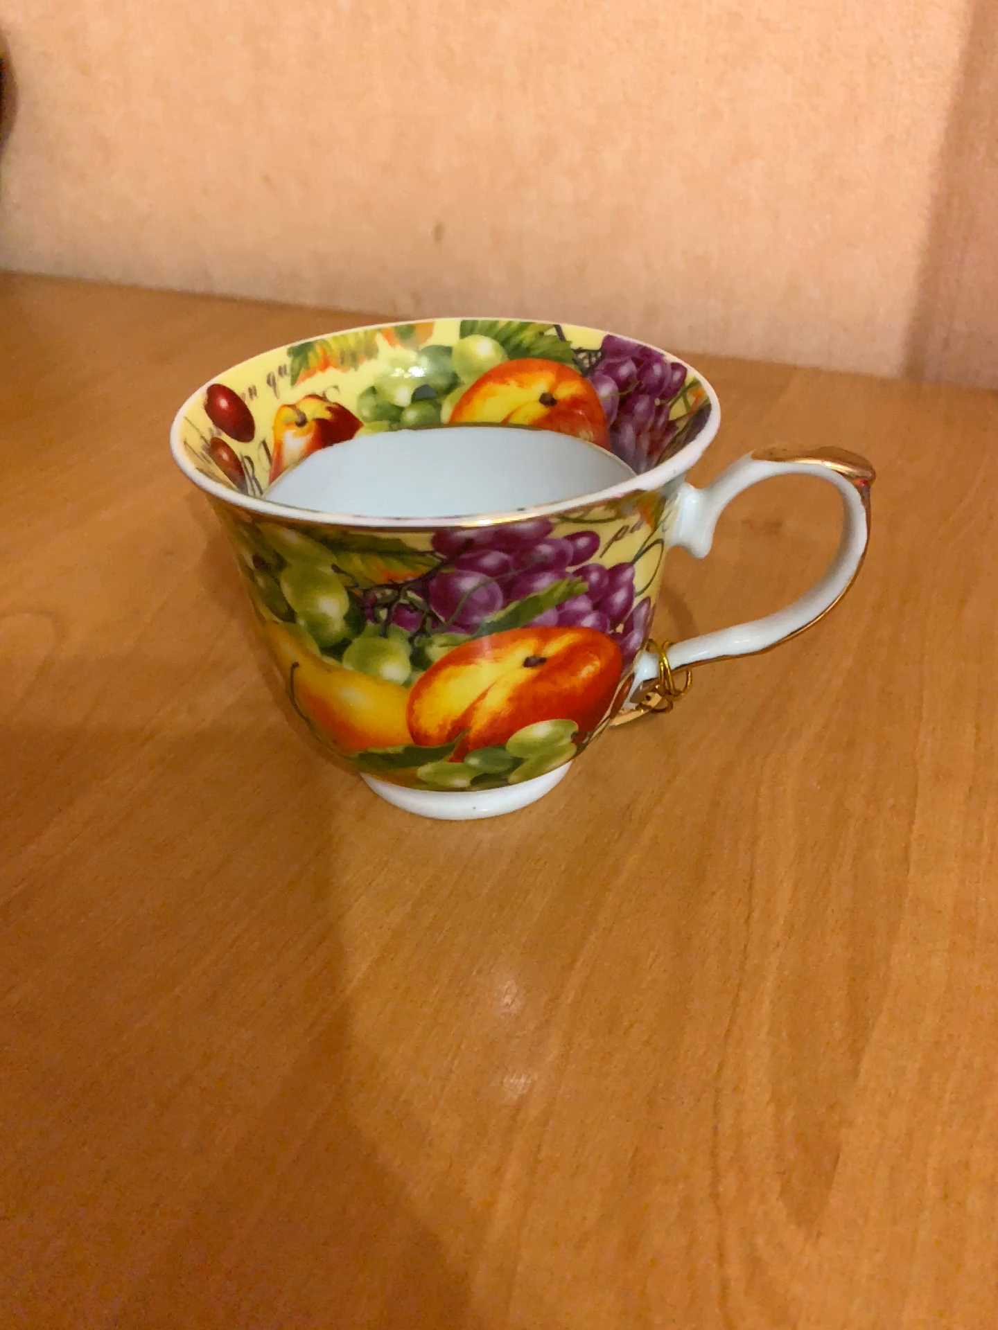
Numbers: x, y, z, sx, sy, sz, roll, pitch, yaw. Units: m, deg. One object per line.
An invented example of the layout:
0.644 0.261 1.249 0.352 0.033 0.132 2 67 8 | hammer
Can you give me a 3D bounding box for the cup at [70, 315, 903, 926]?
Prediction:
0.002 -0.014 0.187 0.106 0.071 0.086 2 35 6 | cup
